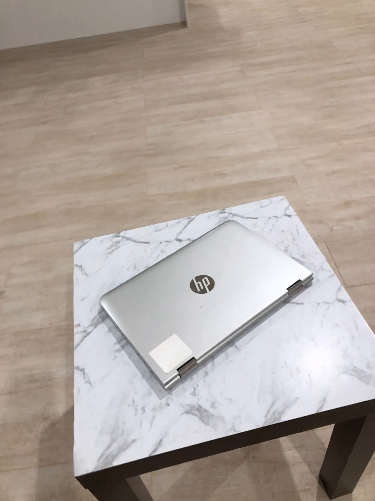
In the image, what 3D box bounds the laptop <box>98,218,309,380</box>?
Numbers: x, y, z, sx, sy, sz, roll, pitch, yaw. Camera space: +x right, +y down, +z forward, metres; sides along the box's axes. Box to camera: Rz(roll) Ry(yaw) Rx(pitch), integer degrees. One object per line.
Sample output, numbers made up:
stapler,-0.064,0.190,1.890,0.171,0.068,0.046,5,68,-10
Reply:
laptop,0.025,0.058,0.679,0.292,0.001,0.197,-31,48,-23
